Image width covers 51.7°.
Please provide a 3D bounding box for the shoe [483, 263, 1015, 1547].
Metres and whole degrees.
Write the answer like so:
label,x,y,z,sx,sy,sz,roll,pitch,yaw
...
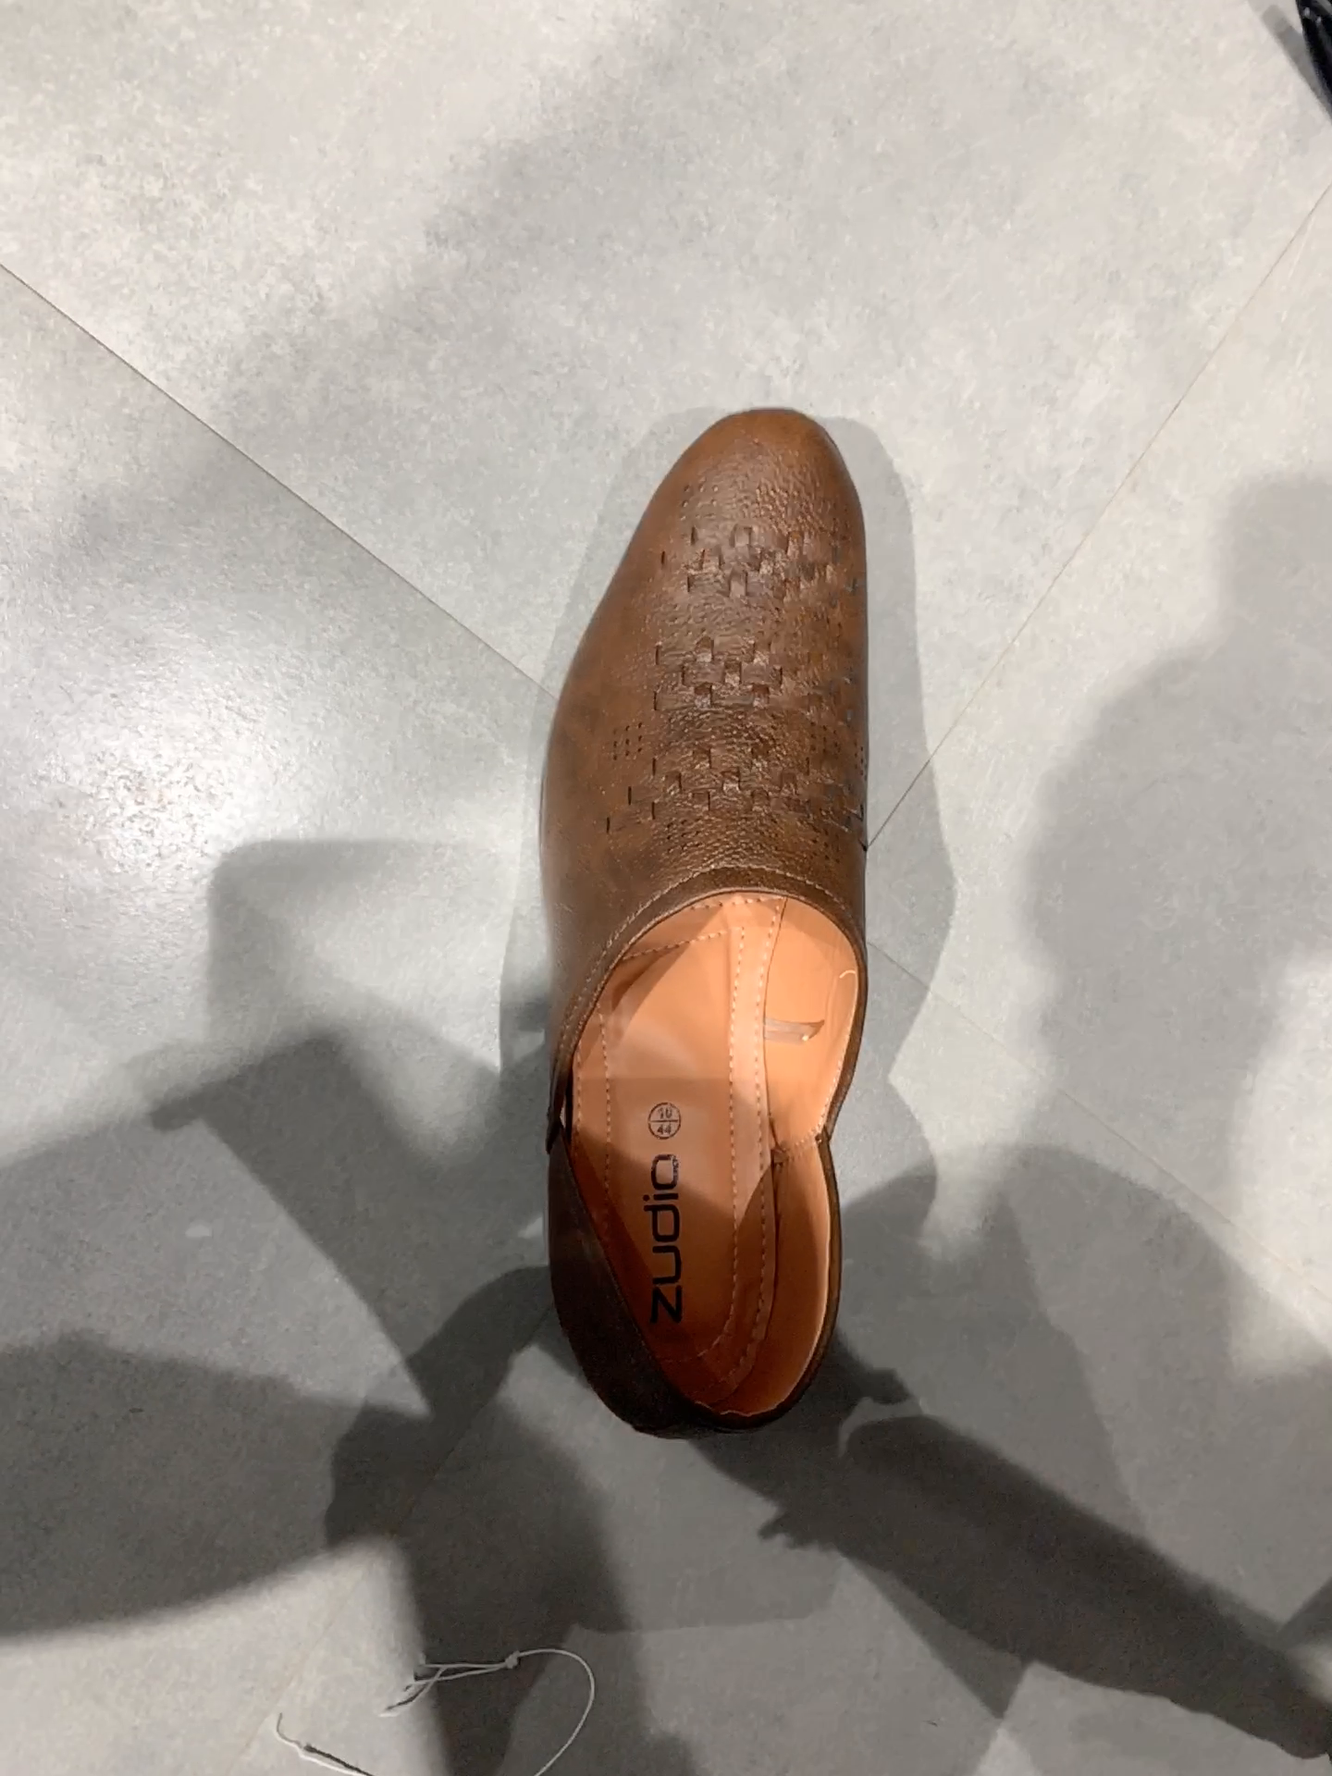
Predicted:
label,x,y,z,sx,sy,sz,roll,pitch,yaw
shoe,0.014,0.006,0.375,0.100,0.110,0.290,3,91,-14
